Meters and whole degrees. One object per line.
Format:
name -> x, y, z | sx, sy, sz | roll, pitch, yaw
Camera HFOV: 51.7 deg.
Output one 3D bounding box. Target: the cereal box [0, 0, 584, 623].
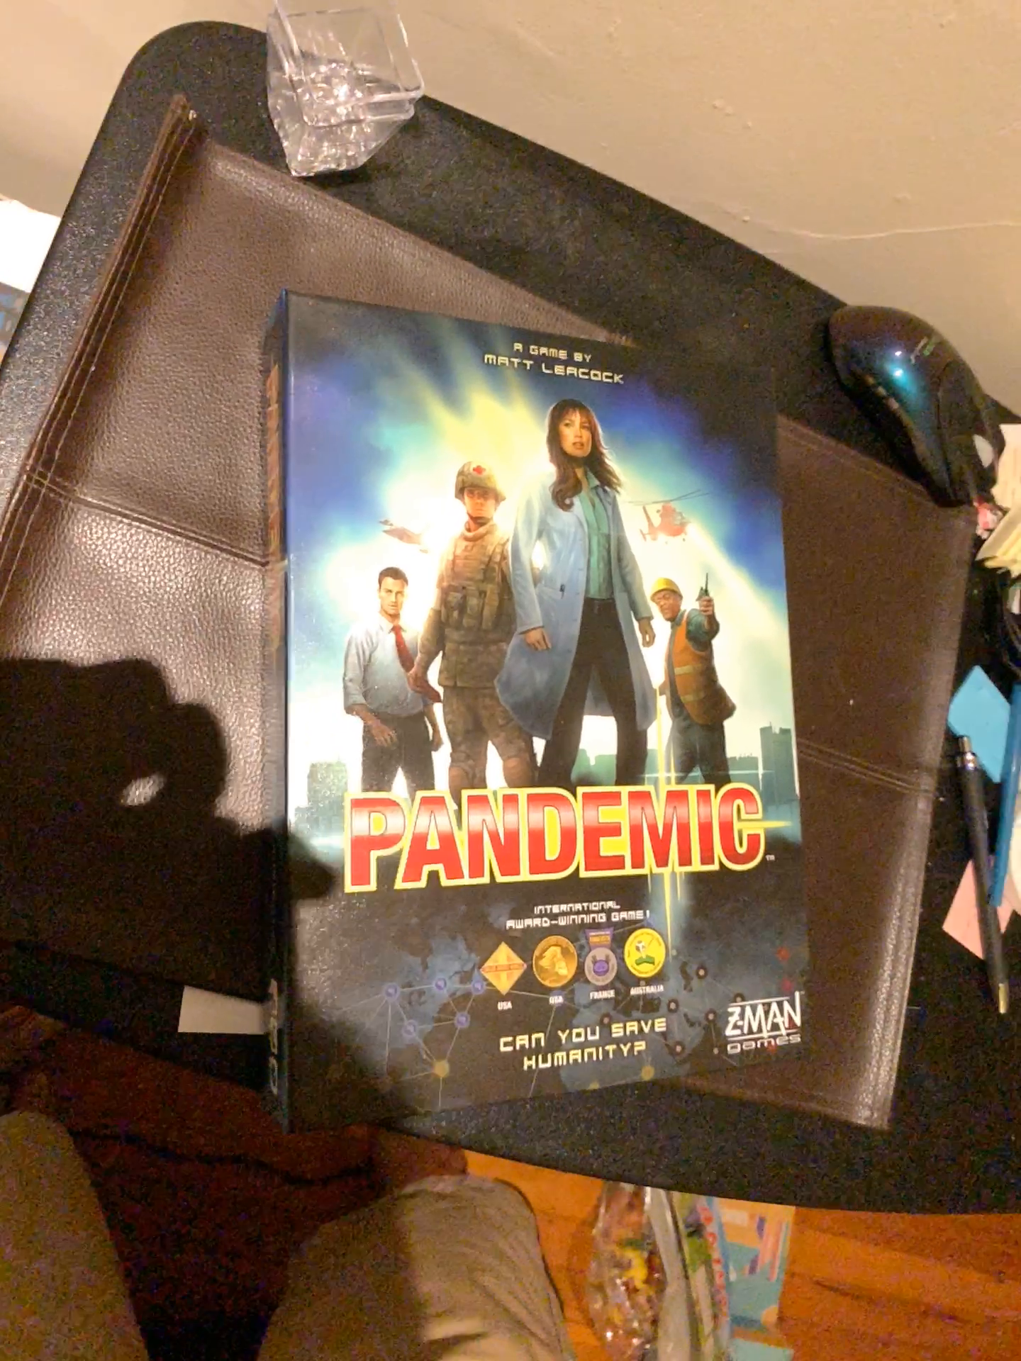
cereal box -> -0.445, -0.477, 1.089 | 0.470, 0.999, 0.510 | -31, 95, -23
